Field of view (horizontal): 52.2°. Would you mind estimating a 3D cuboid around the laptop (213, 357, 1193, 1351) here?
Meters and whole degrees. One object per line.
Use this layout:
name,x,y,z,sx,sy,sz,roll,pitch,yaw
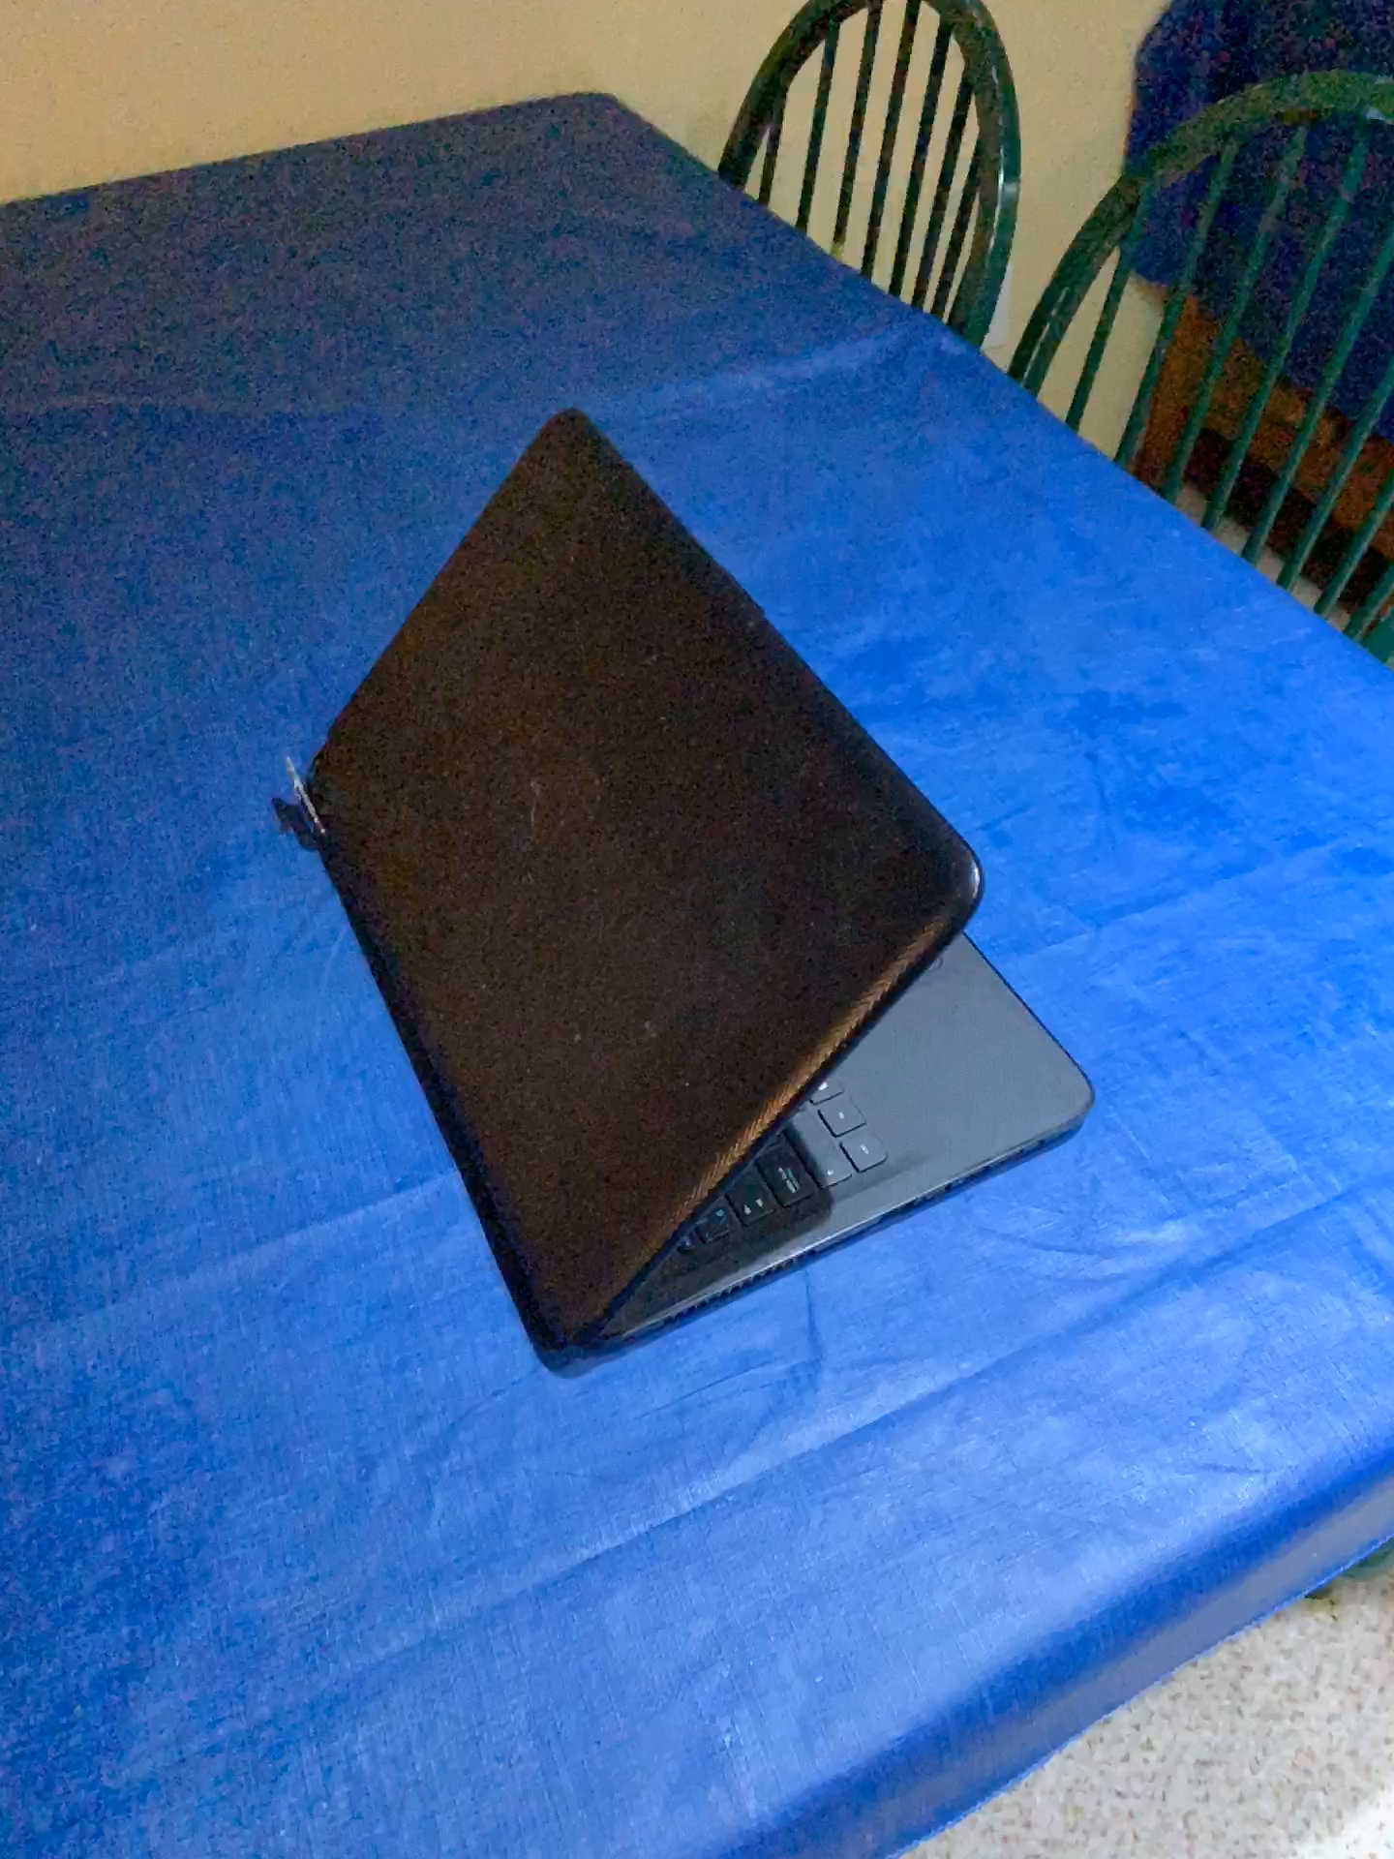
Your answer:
laptop,-0.022,-0.064,0.623,0.252,0.167,0.372,-21,50,-17
